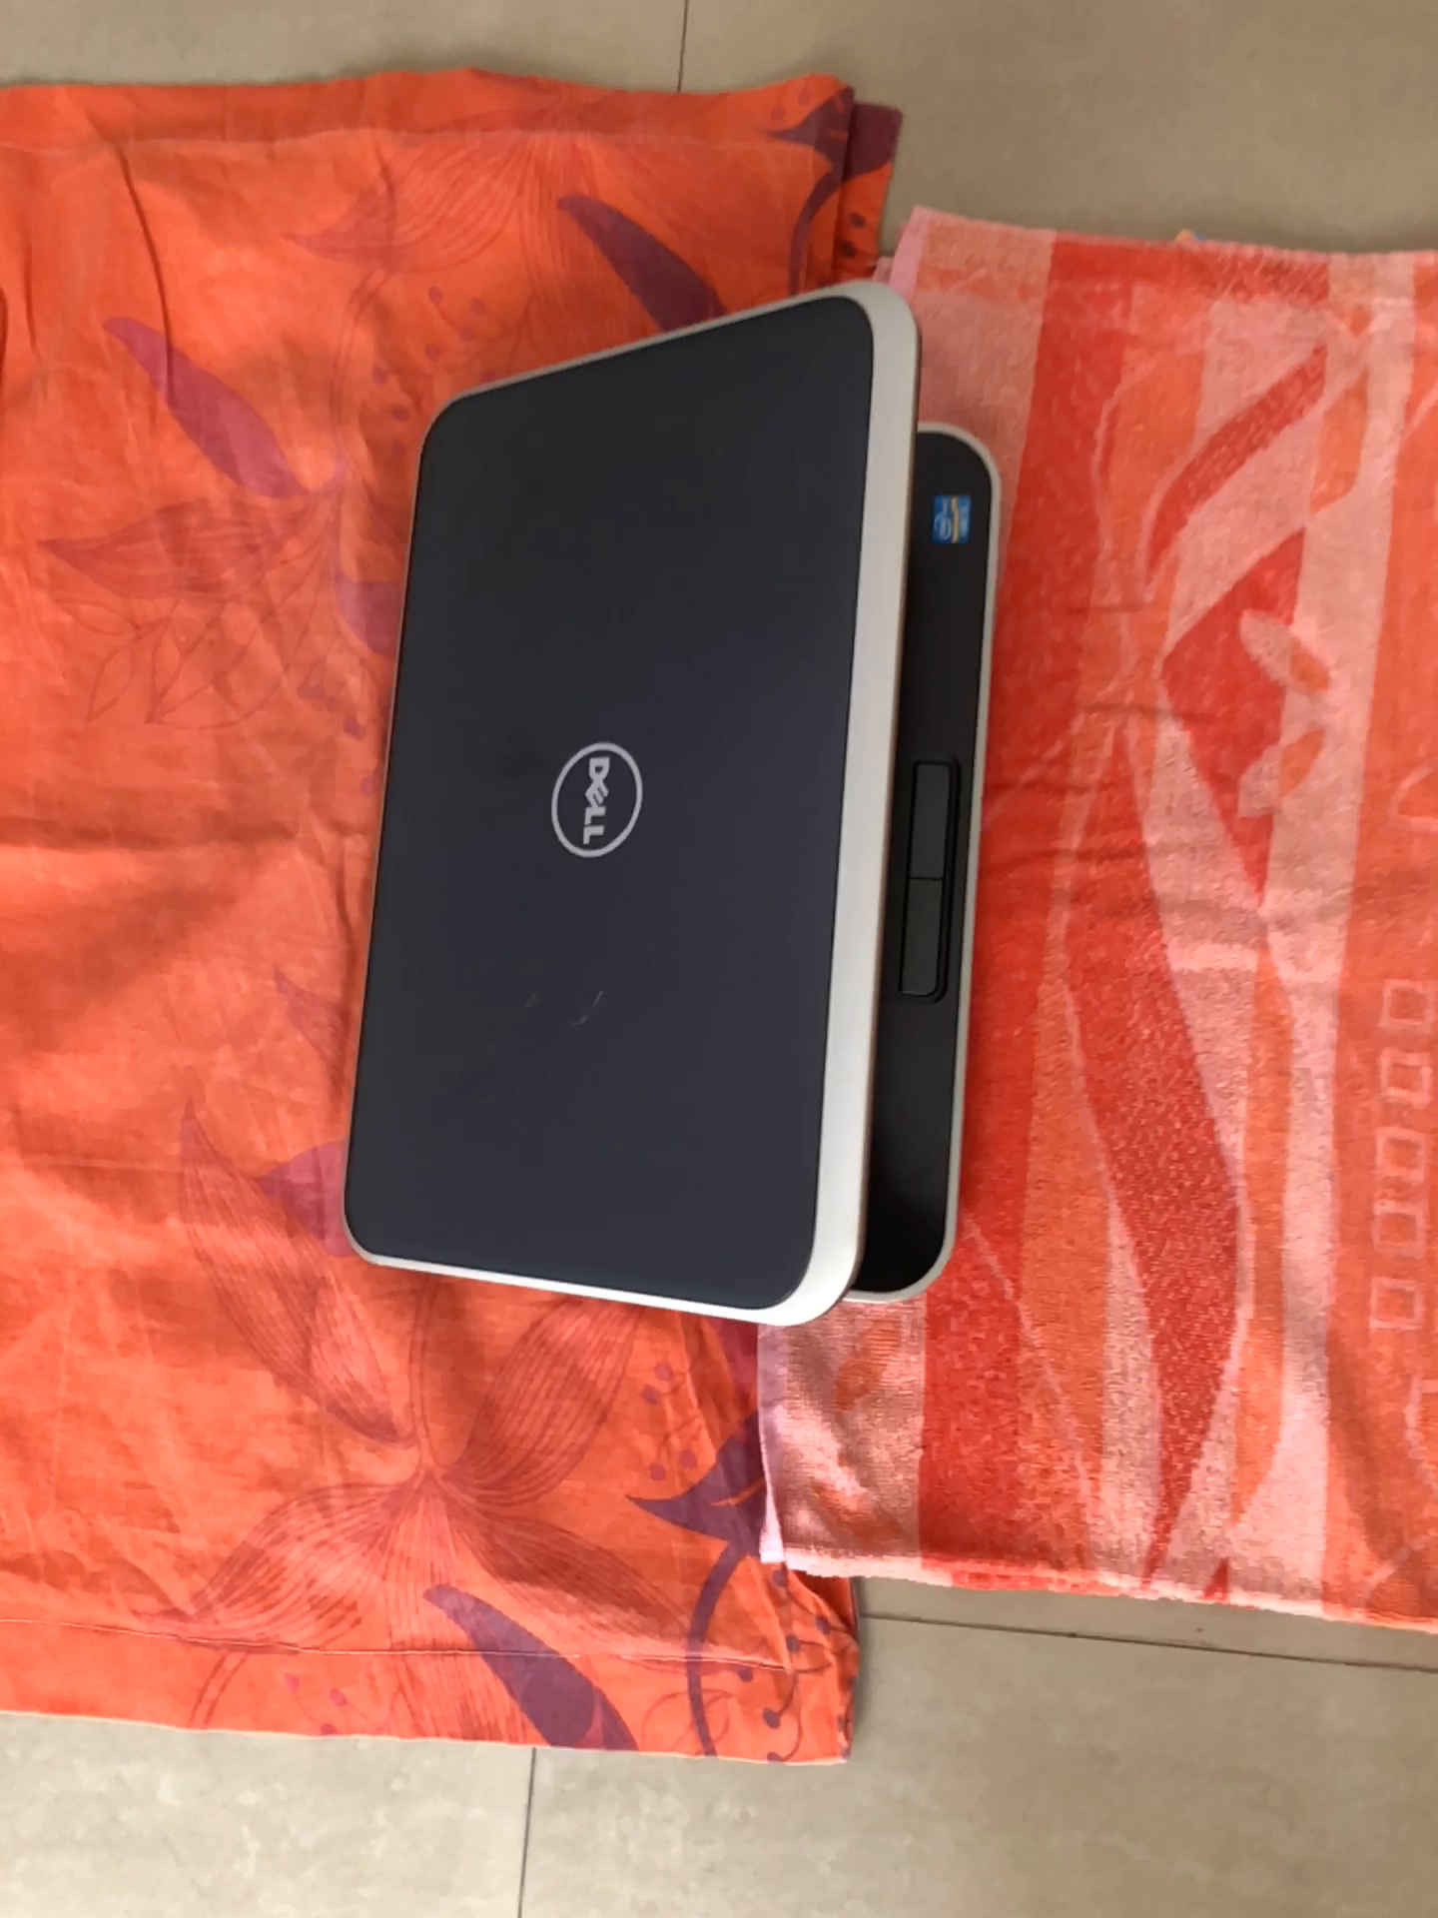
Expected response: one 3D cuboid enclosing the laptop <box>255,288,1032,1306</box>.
[{"bbox_3d":[-0.020,-0.060,0.605,0.241,0.129,0.345,3,83,7],"label":"laptop"}]
